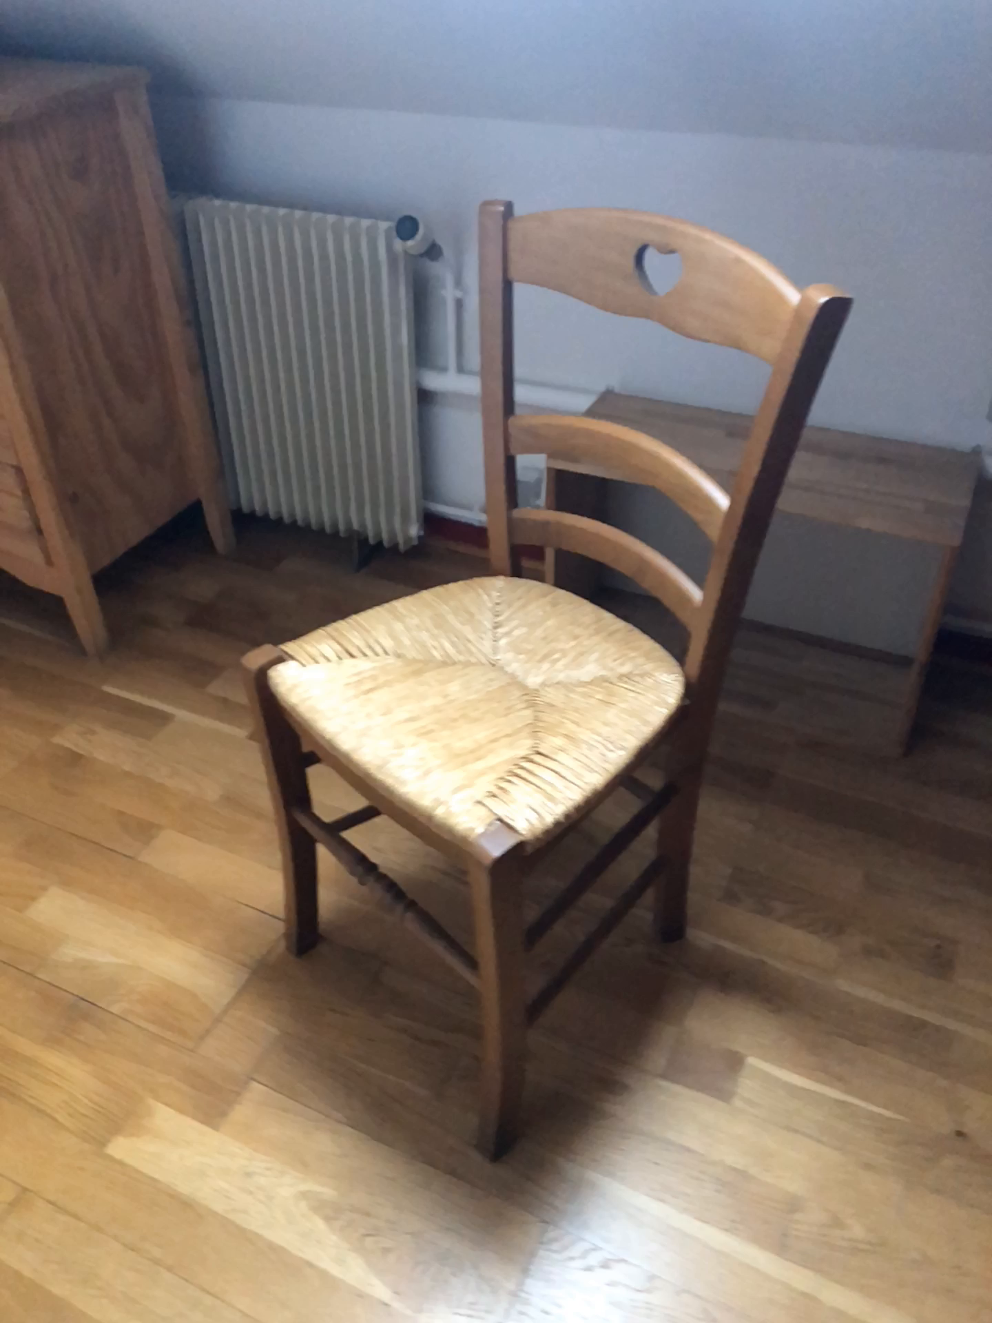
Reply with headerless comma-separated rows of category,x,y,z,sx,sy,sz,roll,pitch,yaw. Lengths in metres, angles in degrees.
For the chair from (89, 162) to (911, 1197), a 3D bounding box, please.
chair,-0.001,0.009,1.067,0.436,0.792,0.459,-29,45,-33
